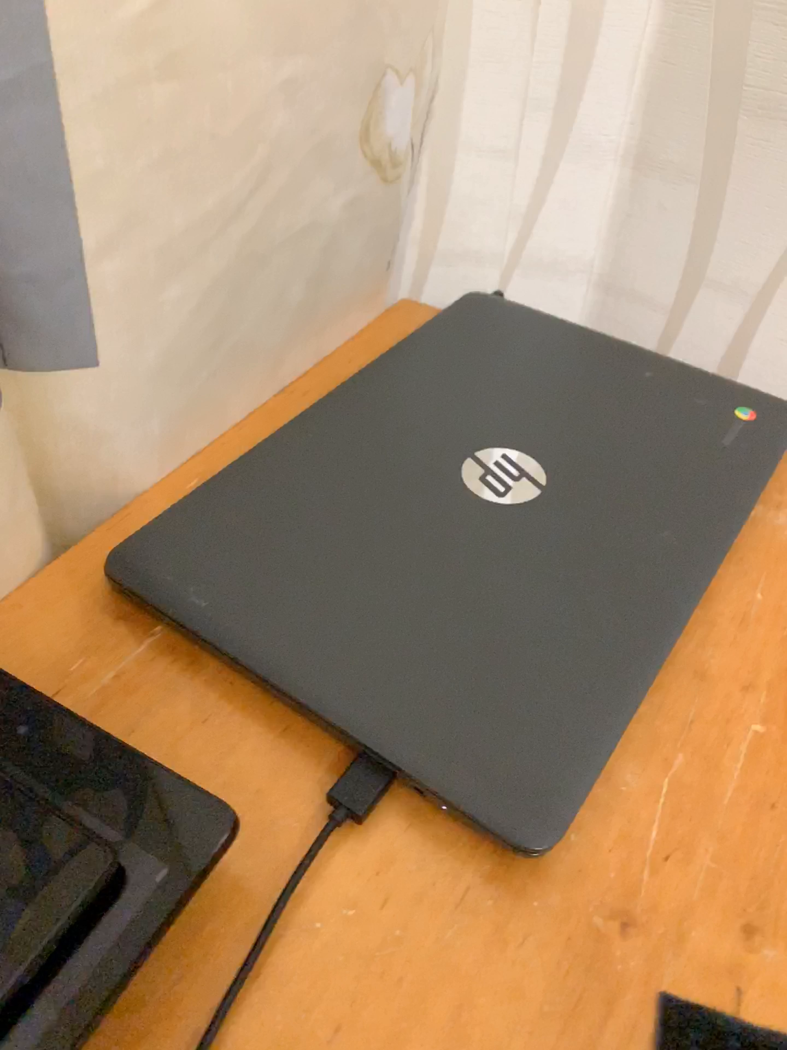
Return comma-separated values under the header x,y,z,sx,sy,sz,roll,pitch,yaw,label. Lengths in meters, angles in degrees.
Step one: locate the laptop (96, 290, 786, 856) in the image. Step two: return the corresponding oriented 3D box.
x,y,z,sx,sy,sz,roll,pitch,yaw,label
0.045,-0.021,0.366,0.194,0.002,0.283,27,49,24,laptop
